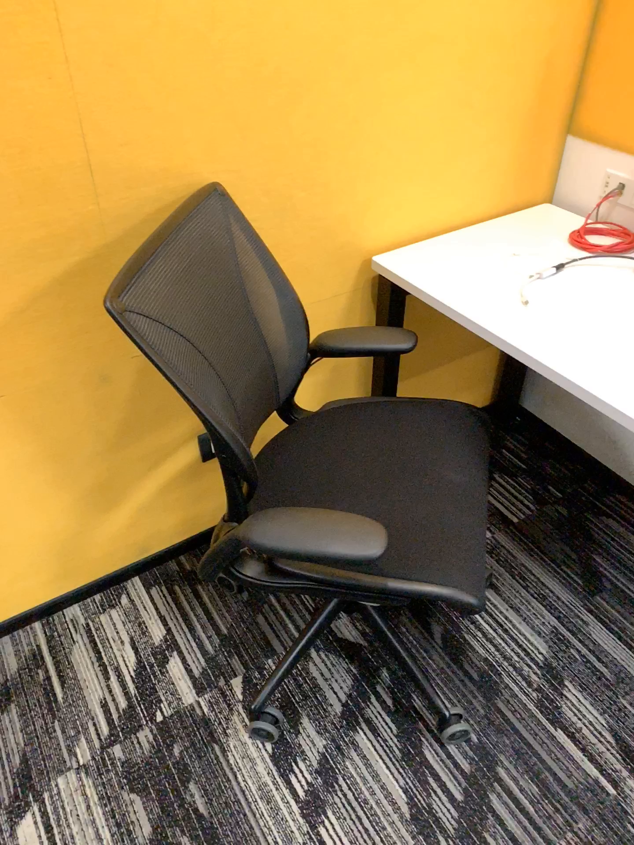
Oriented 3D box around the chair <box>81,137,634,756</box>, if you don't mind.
[{"bbox_3d":[0.089,0.044,1.069,0.570,0.813,0.545,5,39,7],"label":"chair"}]
